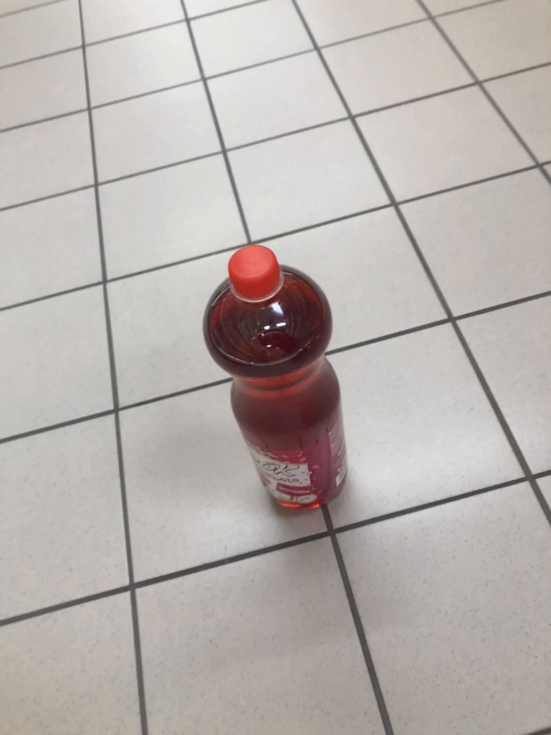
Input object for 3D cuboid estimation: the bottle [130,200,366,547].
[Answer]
[{"bbox_3d":[0.004,0.030,0.480,0.100,0.309,0.100,-4,56,7],"label":"bottle"}]
